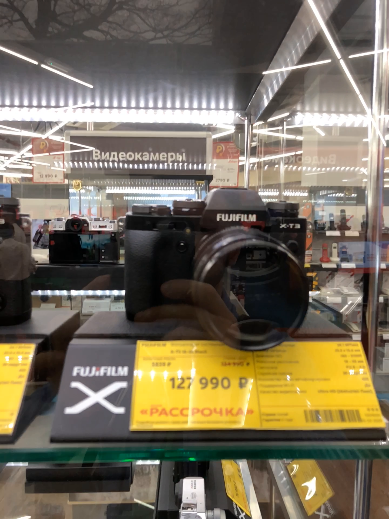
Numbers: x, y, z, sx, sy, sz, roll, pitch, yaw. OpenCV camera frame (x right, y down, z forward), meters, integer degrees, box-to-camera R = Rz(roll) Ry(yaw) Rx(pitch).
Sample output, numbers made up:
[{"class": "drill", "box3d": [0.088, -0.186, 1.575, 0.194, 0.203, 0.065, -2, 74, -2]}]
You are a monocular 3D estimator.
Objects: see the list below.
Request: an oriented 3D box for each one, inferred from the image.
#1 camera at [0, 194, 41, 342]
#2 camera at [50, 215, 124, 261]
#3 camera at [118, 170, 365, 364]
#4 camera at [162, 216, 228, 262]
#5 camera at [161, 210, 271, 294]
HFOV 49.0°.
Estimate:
[{"class": "camera", "box3d": [-0.179, 0.003, 0.289, 0.125, 0.088, 0.066, 0, 4, -2]}, {"class": "camera", "box3d": [-0.178, -0.037, 0.719, 0.109, 0.074, 0.056, 0, 4, 1]}, {"class": "camera", "box3d": [0.021, 0.000, 0.283, 0.129, 0.100, 0.119, 0, 4, -4]}, {"class": "camera", "box3d": [0.001, -0.036, 0.730, 0.109, 0.074, 0.056, 0, 4, 1]}, {"class": "camera", "box3d": [0.022, -0.012, 0.515, 0.115, 0.088, 0.125, 0, 4, 0]}]
